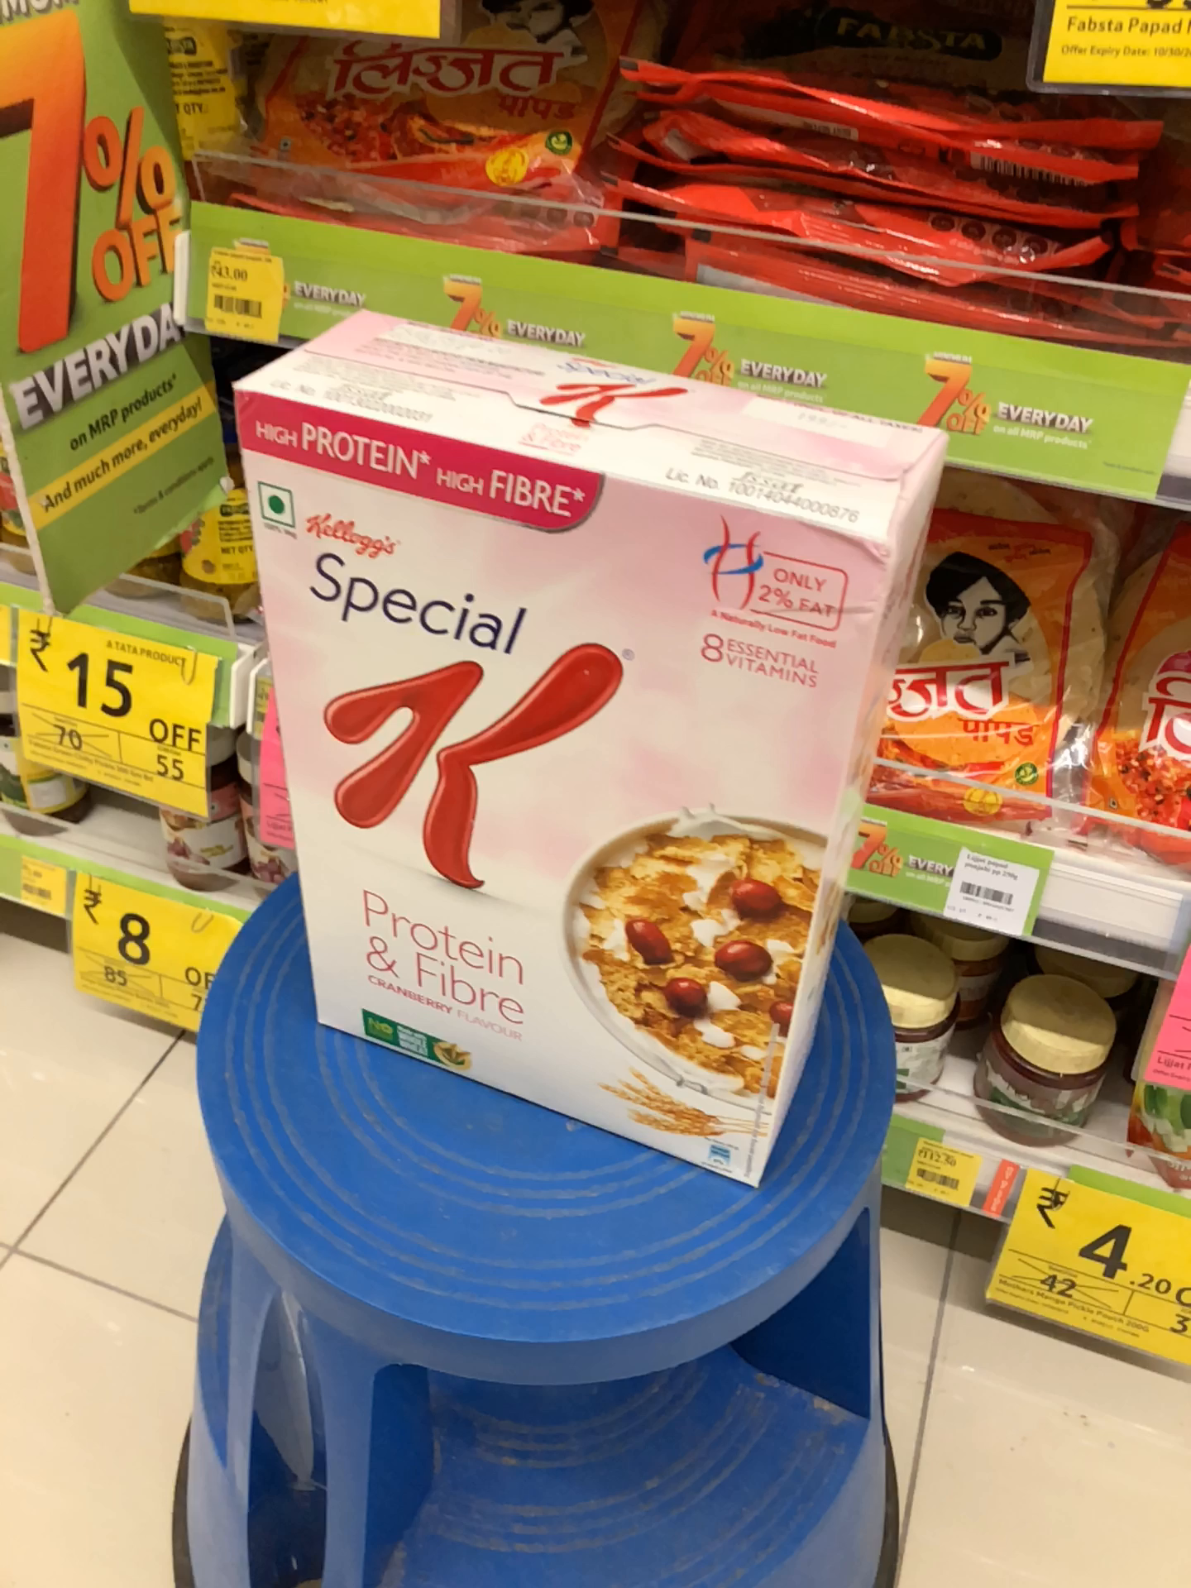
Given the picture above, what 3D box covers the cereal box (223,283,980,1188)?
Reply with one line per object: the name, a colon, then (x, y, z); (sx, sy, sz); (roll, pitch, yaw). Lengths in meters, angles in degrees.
cereal box: (-0.003, -0.009, 0.414); (0.180, 0.248, 0.070); (17, 42, 17)
